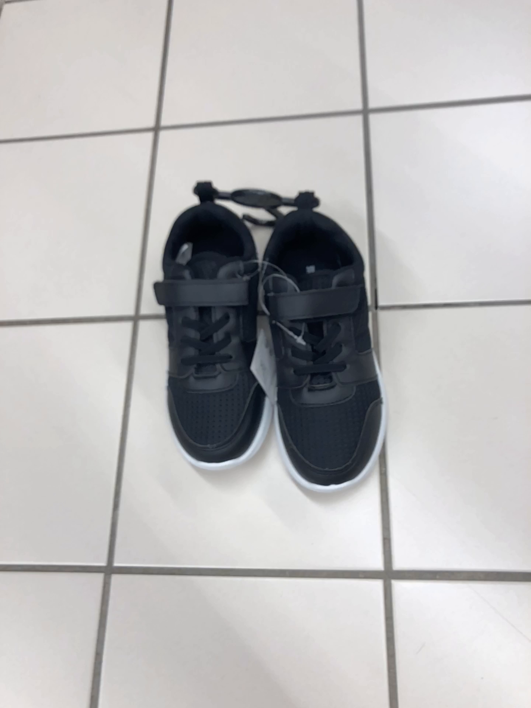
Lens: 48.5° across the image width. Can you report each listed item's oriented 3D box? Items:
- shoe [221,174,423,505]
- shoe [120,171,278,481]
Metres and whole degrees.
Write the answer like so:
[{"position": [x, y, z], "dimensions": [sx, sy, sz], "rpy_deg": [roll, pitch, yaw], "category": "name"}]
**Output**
[{"position": [0.036, -0.013, 0.436], "dimensions": [0.097, 0.064, 0.223], "rpy_deg": [-11, 68, 4], "category": "shoe"}, {"position": [-0.048, -0.023, 0.452], "dimensions": [0.097, 0.064, 0.223], "rpy_deg": [-5, 68, 6], "category": "shoe"}]
